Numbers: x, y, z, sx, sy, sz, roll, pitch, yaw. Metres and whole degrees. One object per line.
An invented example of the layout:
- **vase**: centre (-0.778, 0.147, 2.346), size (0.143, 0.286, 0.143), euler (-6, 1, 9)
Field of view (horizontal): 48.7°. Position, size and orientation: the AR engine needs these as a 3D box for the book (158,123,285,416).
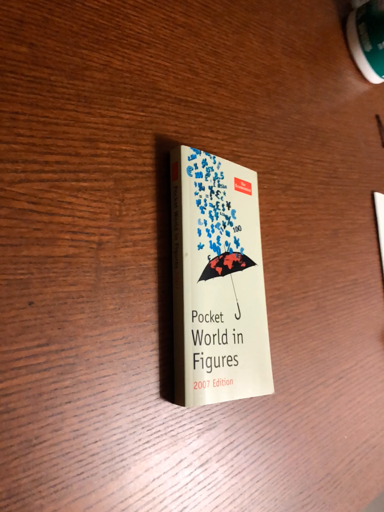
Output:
- **book**: centre (0.023, 0.010, 0.330), size (0.100, 0.030, 0.200), euler (9, 75, -41)
